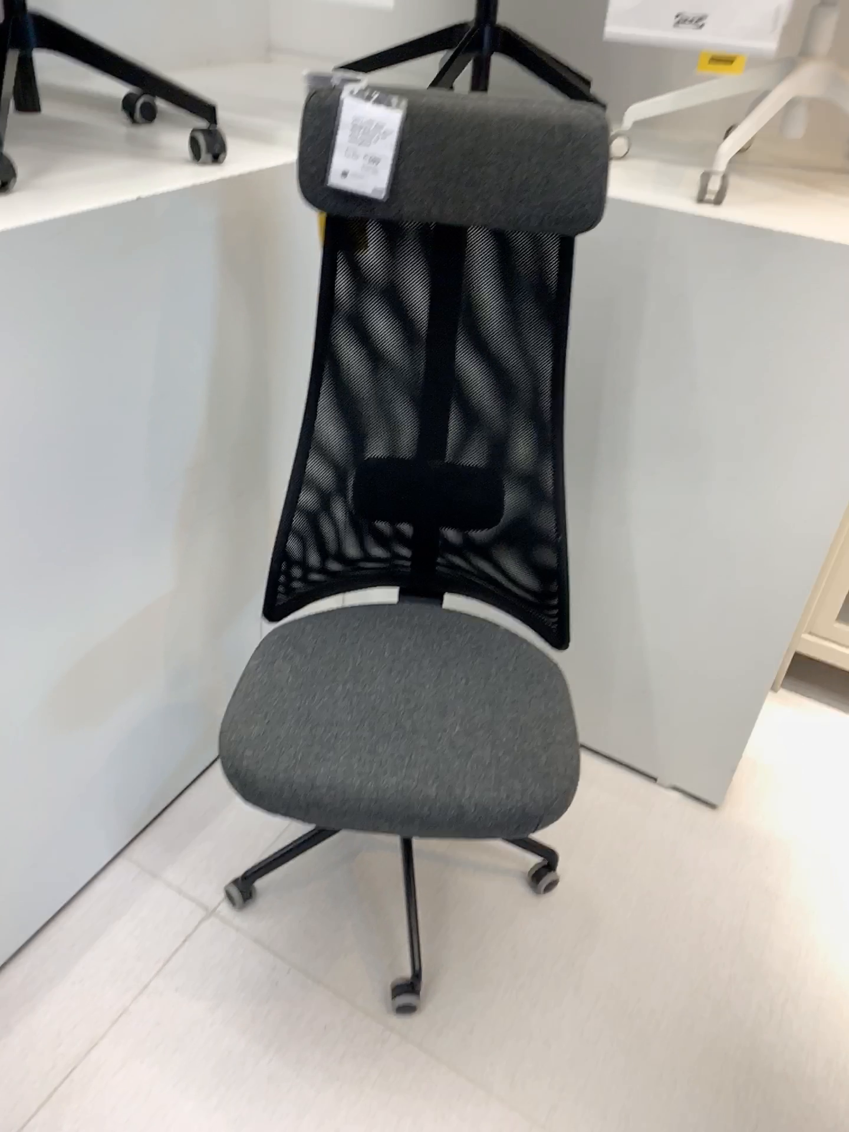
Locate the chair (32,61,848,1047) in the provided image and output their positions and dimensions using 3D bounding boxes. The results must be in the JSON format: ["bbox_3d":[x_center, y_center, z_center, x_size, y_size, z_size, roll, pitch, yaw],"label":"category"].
[{"bbox_3d":[0.009,0.018,1.325,0.660,1.264,0.673,9,36,6],"label":"chair"}]
